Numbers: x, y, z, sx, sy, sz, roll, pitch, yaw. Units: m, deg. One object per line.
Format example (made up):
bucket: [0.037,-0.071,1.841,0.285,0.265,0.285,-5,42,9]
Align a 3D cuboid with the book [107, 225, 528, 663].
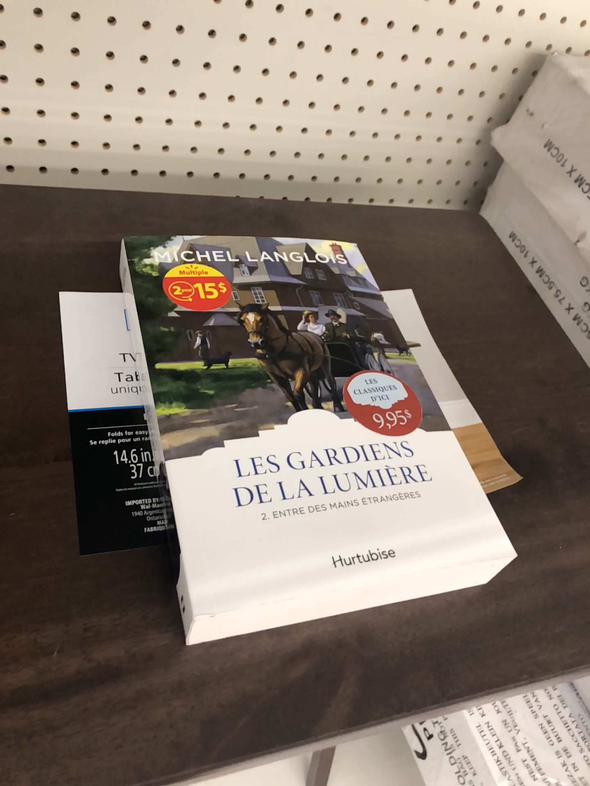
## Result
book: [-0.005,0.003,0.349,0.159,0.039,0.234,-3,52,-22]
